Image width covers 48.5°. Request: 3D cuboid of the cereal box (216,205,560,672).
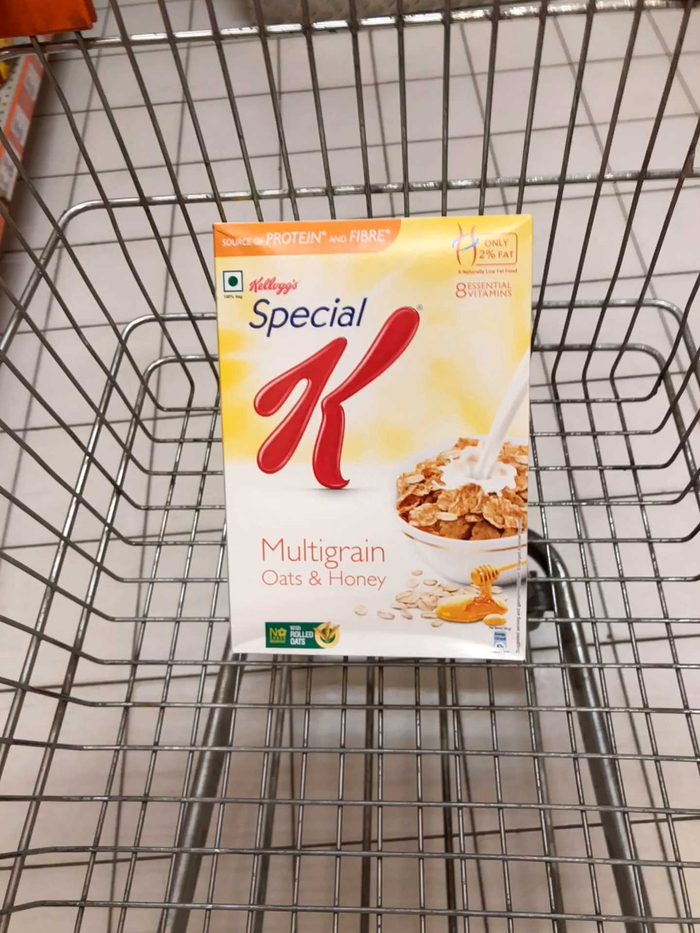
[{"bbox_3d":[0.024,-0.018,0.496,0.190,0.090,0.270,1,100,5],"label":"cereal box"}]
